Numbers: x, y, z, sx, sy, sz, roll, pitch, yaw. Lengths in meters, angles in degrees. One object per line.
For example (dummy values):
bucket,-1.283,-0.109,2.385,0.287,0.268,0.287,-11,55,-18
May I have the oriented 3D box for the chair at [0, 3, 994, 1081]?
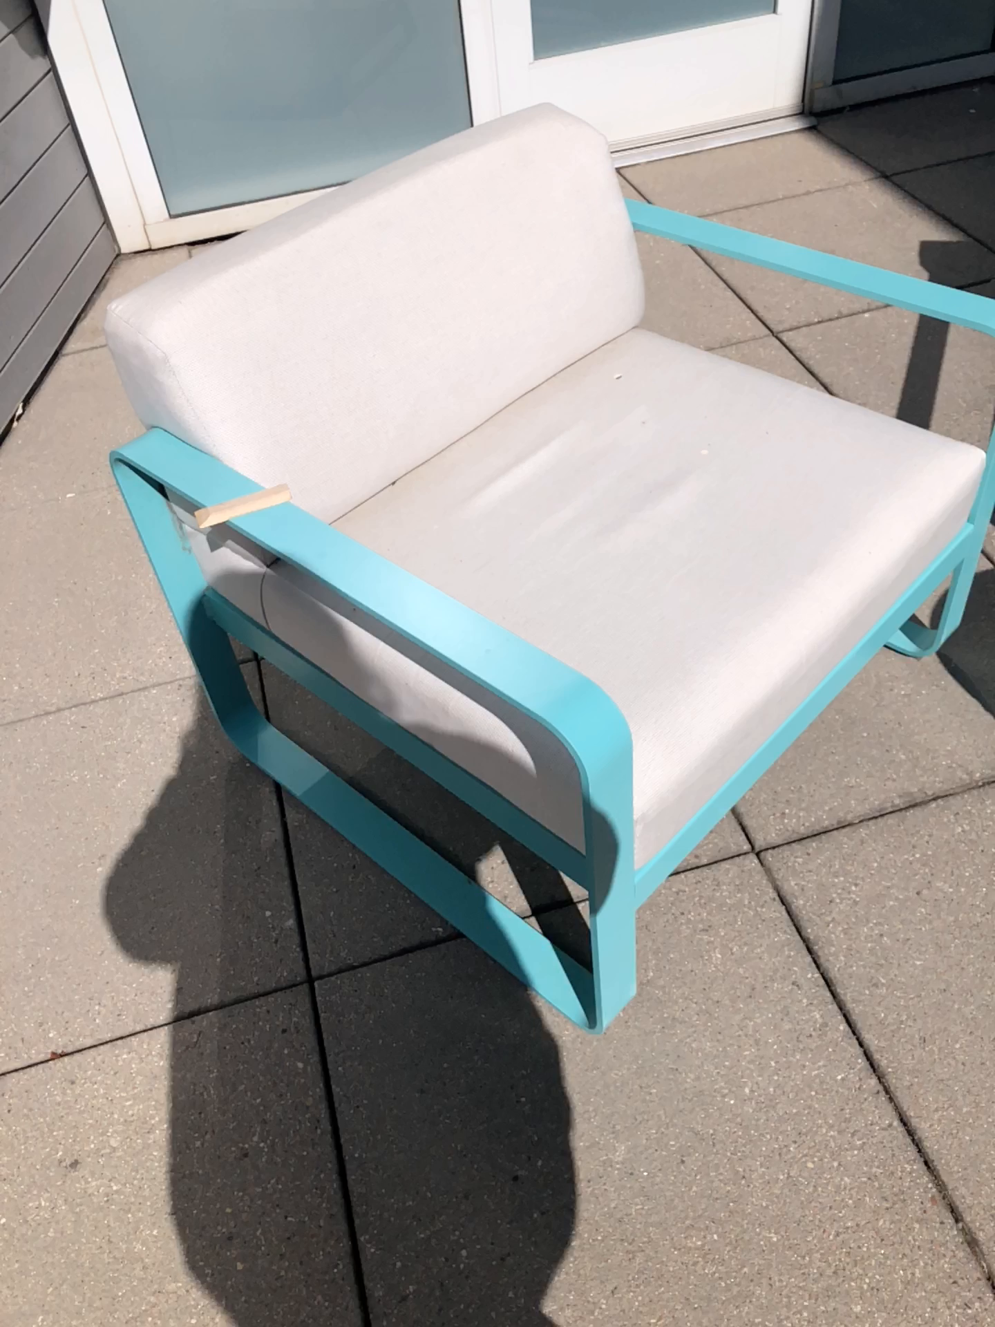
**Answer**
chair,0.054,-0.245,1.407,0.873,0.766,0.902,29,55,31
